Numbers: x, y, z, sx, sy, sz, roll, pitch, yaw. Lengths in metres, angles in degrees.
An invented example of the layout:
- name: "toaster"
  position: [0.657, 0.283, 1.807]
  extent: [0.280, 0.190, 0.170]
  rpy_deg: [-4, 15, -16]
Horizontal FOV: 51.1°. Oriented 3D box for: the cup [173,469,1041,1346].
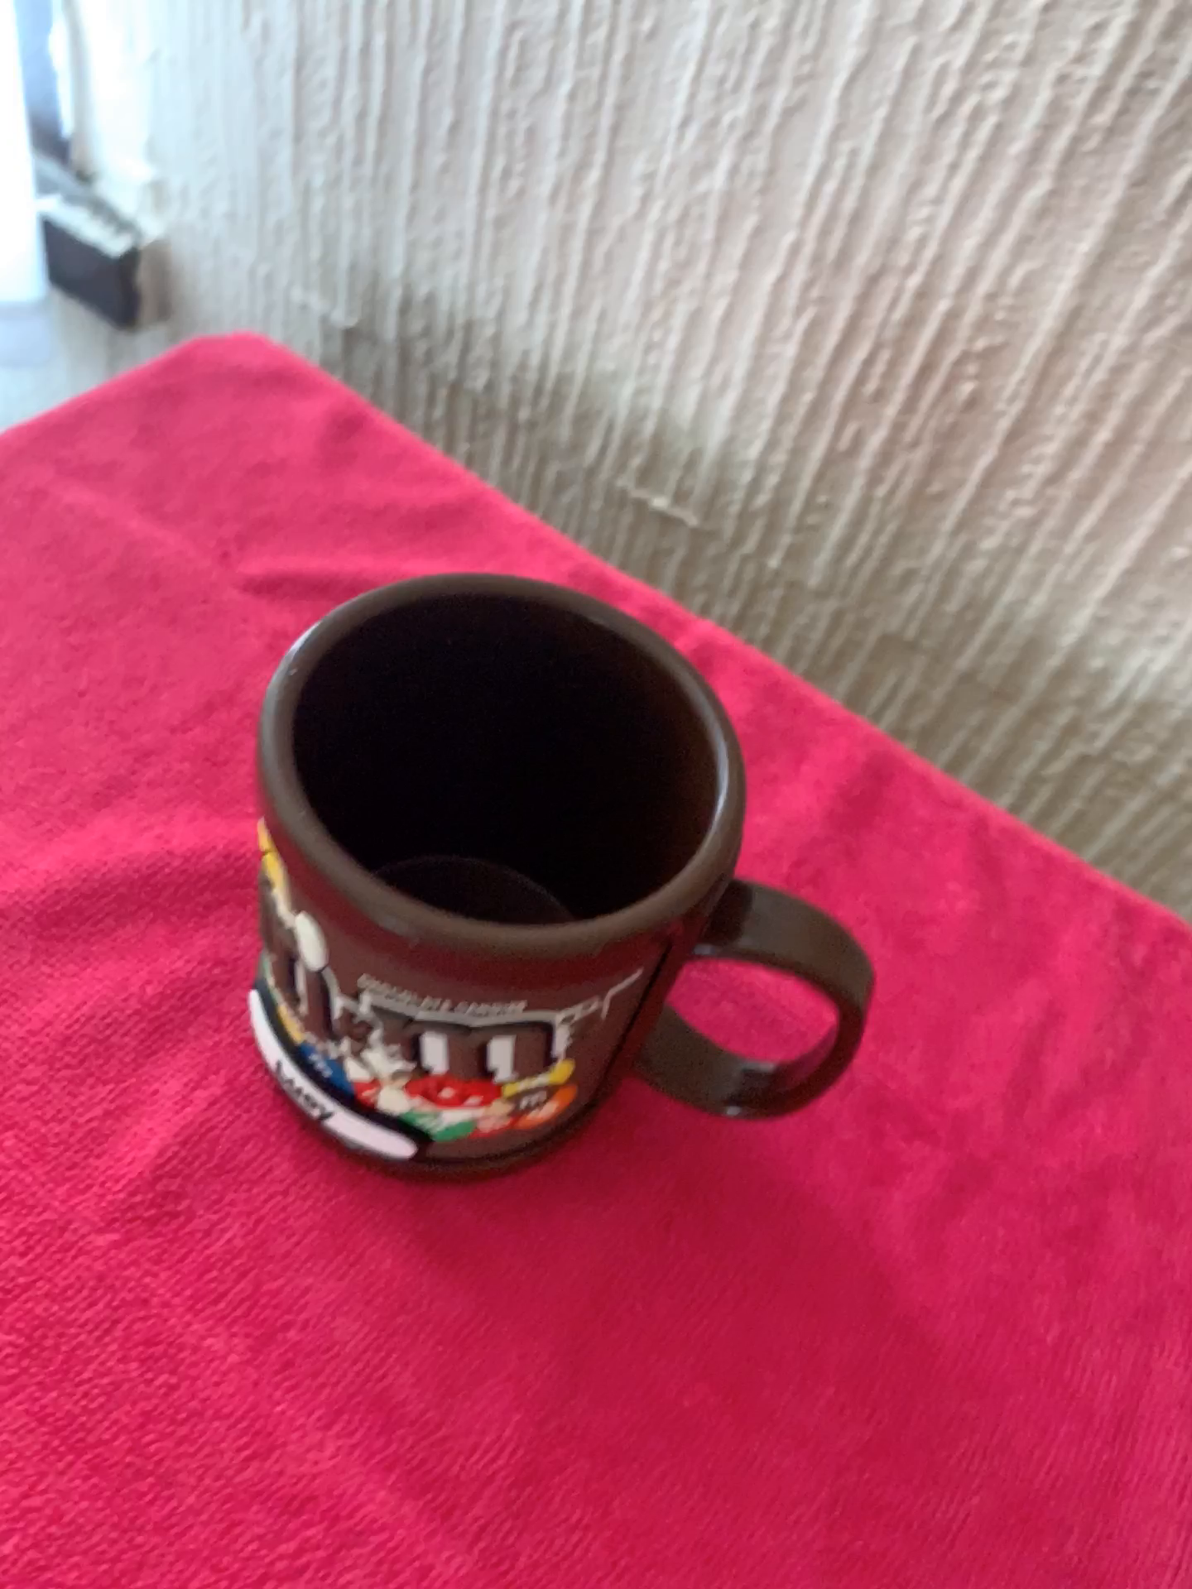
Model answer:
- name: "cup"
  position: [0.000, 0.024, 0.239]
  extent: [0.120, 0.099, 0.091]
  rpy_deg: [22, 50, 3]
